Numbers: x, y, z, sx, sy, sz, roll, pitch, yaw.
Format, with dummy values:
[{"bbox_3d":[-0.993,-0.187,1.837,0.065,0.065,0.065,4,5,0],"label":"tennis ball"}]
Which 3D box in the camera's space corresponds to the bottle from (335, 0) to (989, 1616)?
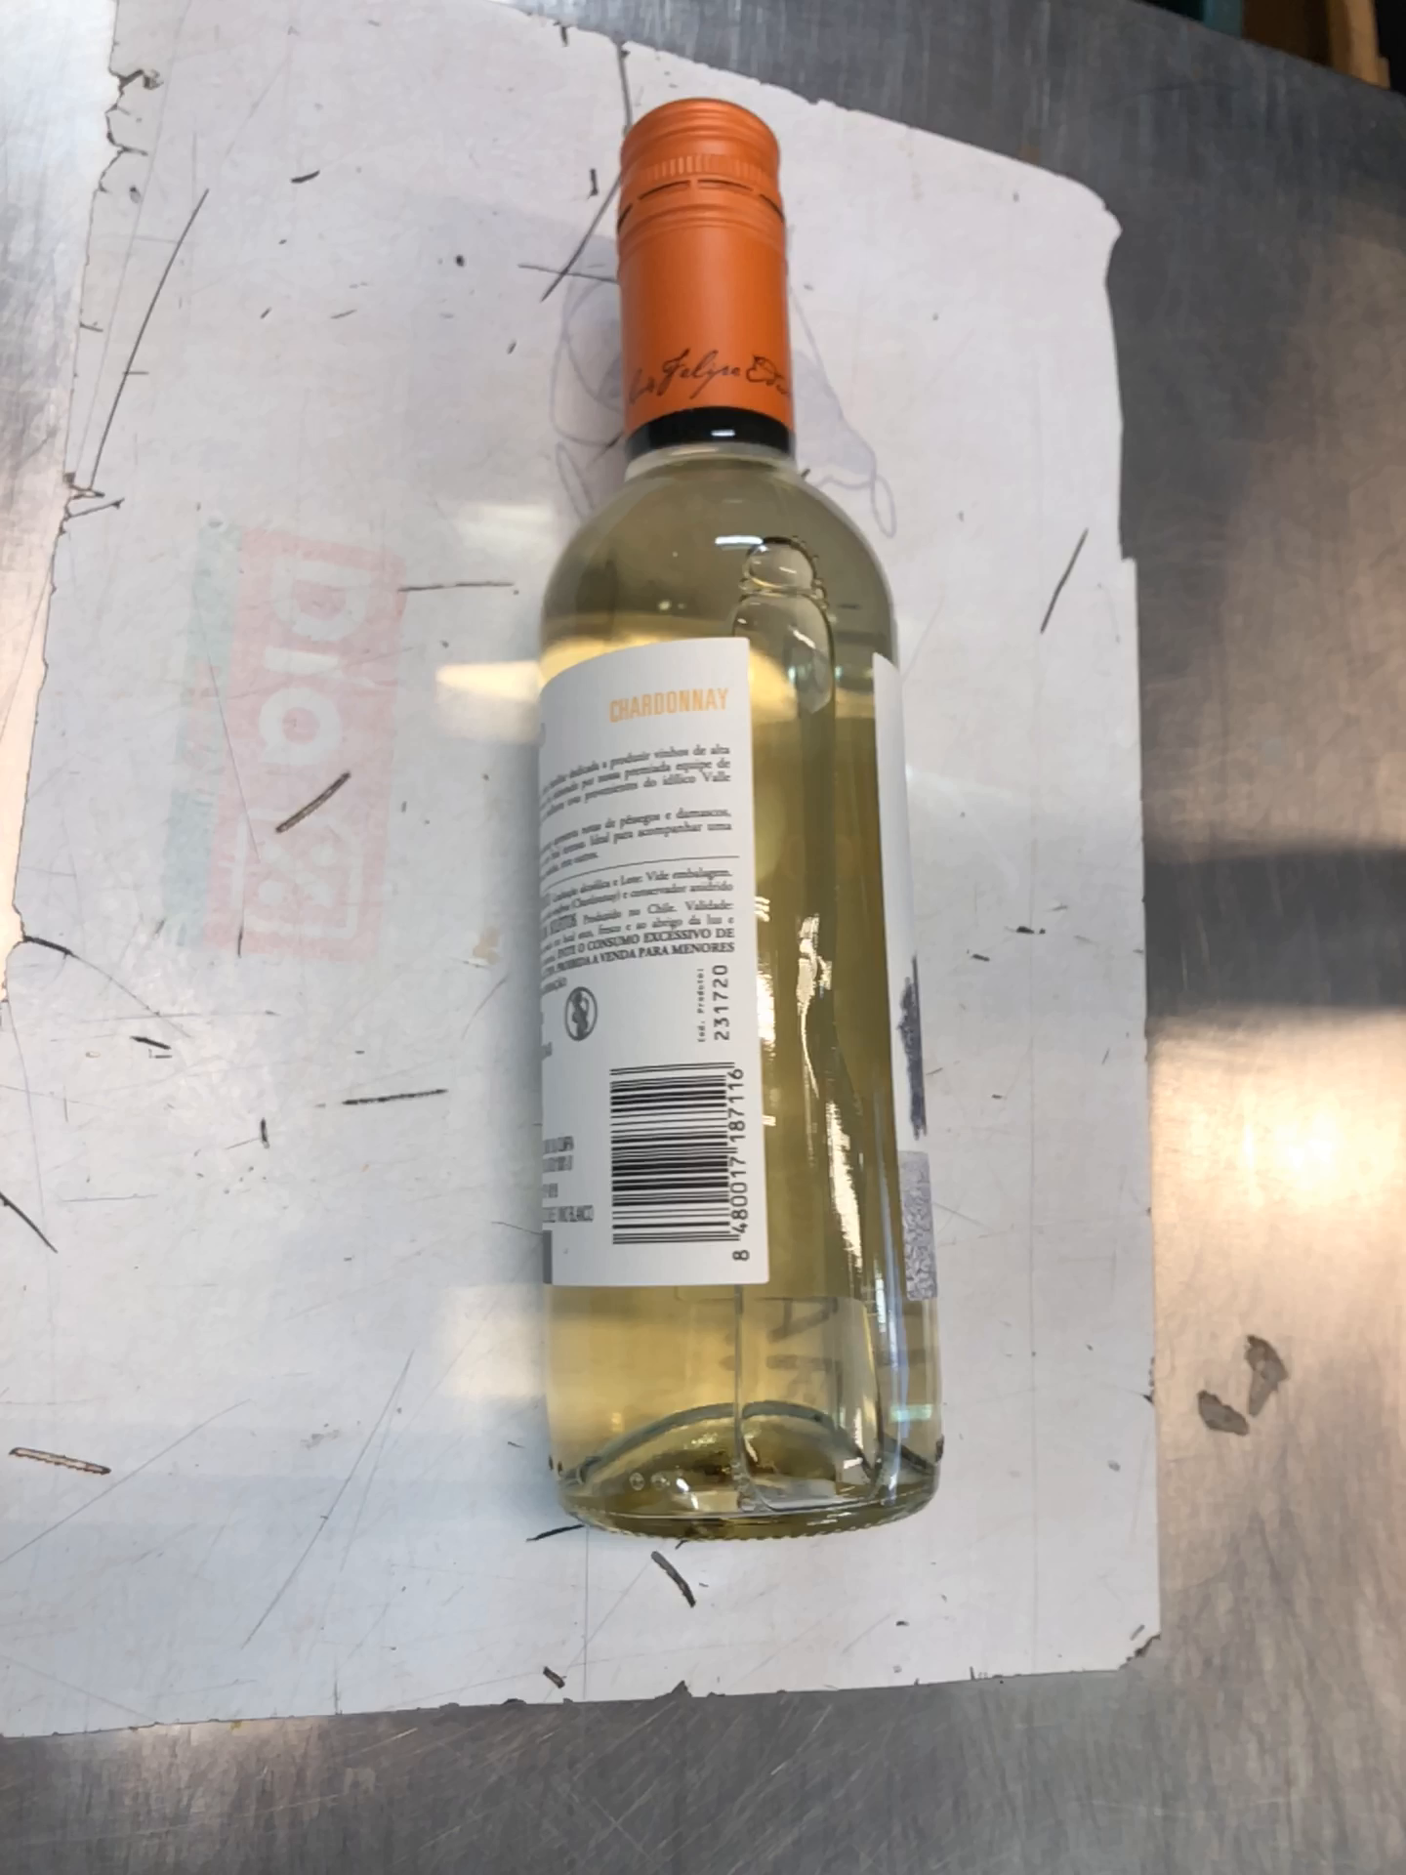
[{"bbox_3d":[-0.009,-0.043,0.261,0.070,0.070,0.270,8,77,-40],"label":"bottle"}]
